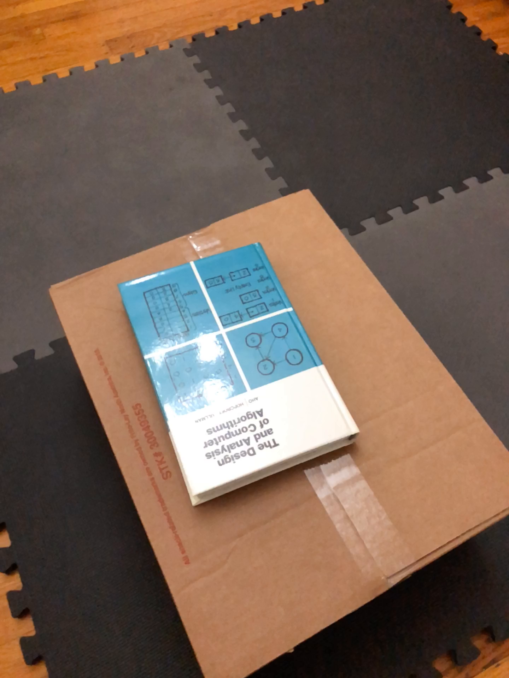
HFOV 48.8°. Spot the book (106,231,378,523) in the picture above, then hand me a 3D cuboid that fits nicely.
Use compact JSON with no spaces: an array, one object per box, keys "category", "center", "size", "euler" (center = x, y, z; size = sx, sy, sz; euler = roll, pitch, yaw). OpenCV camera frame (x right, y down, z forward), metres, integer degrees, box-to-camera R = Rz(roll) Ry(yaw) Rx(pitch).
[{"category":"book","center":[-0.022,0.023,0.575],"size":[0.190,0.040,0.261],"euler":[-18,63,-12]}]
